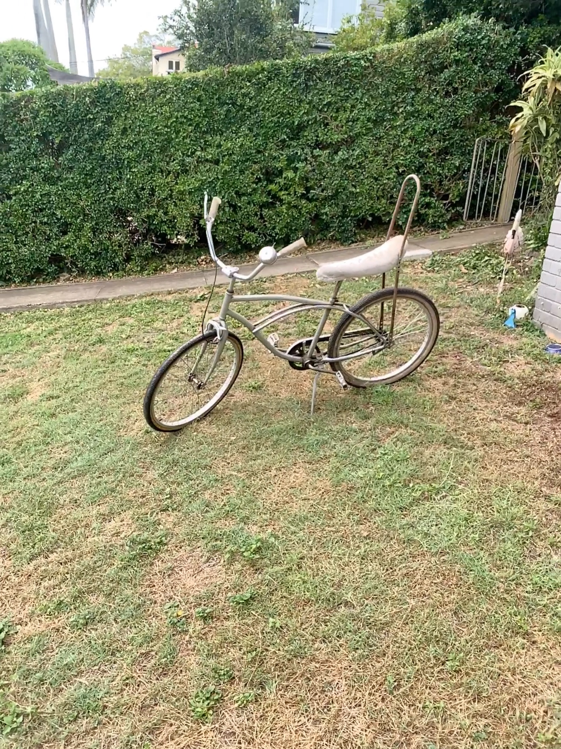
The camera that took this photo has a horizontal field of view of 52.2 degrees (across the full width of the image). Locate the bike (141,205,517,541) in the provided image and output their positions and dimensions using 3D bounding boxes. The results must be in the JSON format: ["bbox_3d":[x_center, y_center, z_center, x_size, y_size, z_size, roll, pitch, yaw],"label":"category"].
[{"bbox_3d":[0.152,-0.123,2.855,1.600,0.991,0.804,-13,24,-16],"label":"bike"}]
